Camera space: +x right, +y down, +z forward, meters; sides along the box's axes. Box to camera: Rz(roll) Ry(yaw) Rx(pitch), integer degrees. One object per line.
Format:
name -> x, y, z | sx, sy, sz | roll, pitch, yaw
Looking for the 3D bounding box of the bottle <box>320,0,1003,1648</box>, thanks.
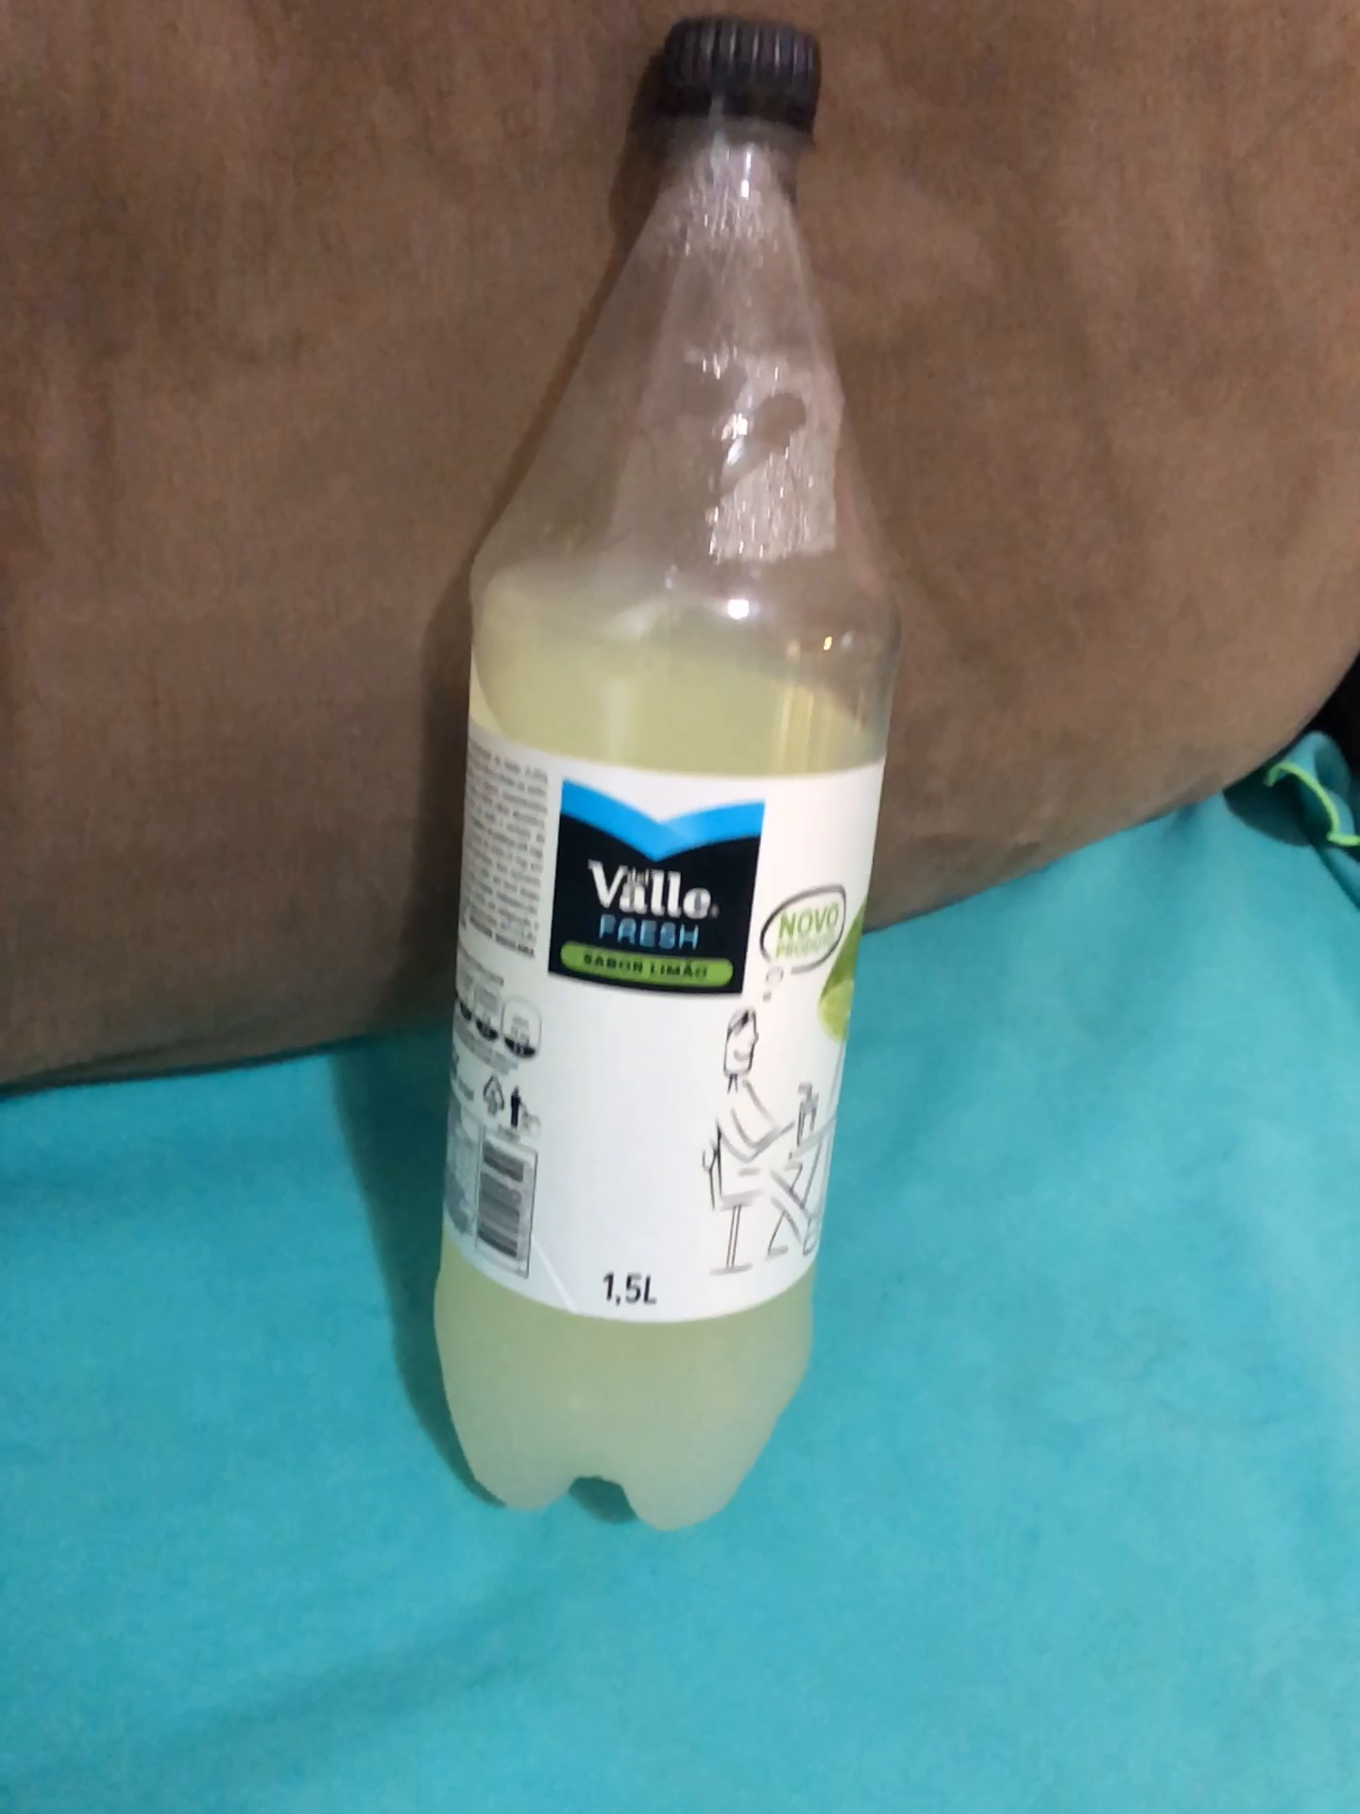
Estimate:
bottle -> -0.004, -0.030, 0.335 | 0.100, 0.329, 0.100 | -1, 11, 0
